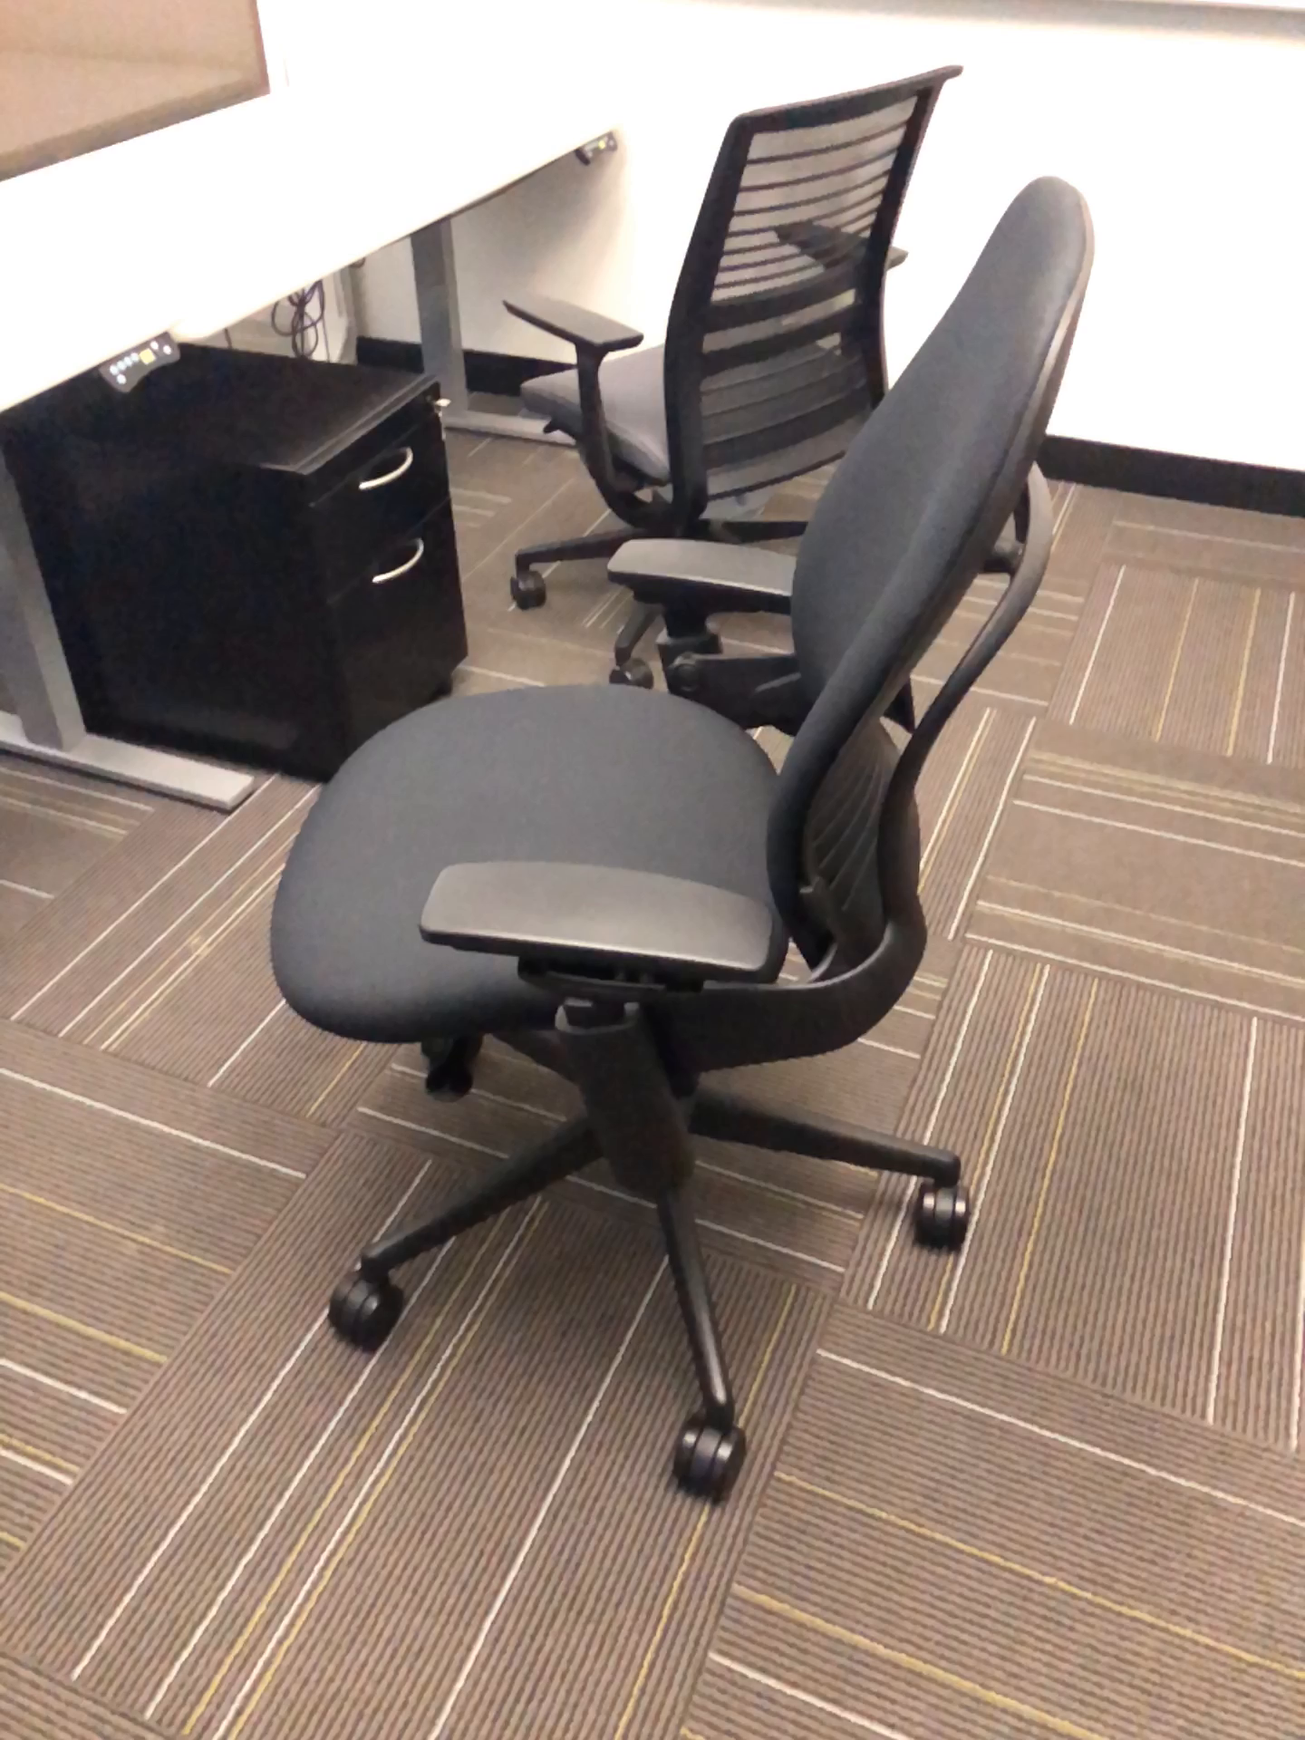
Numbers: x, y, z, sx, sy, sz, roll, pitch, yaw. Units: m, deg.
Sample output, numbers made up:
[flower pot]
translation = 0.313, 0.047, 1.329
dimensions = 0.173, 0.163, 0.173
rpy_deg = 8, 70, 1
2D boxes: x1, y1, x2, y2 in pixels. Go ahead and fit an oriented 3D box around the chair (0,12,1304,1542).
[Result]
[chair]
translation = -0.040, -0.092, 1.252
dimensions = 0.830, 1.035, 0.734
rpy_deg = 5, 38, 7
